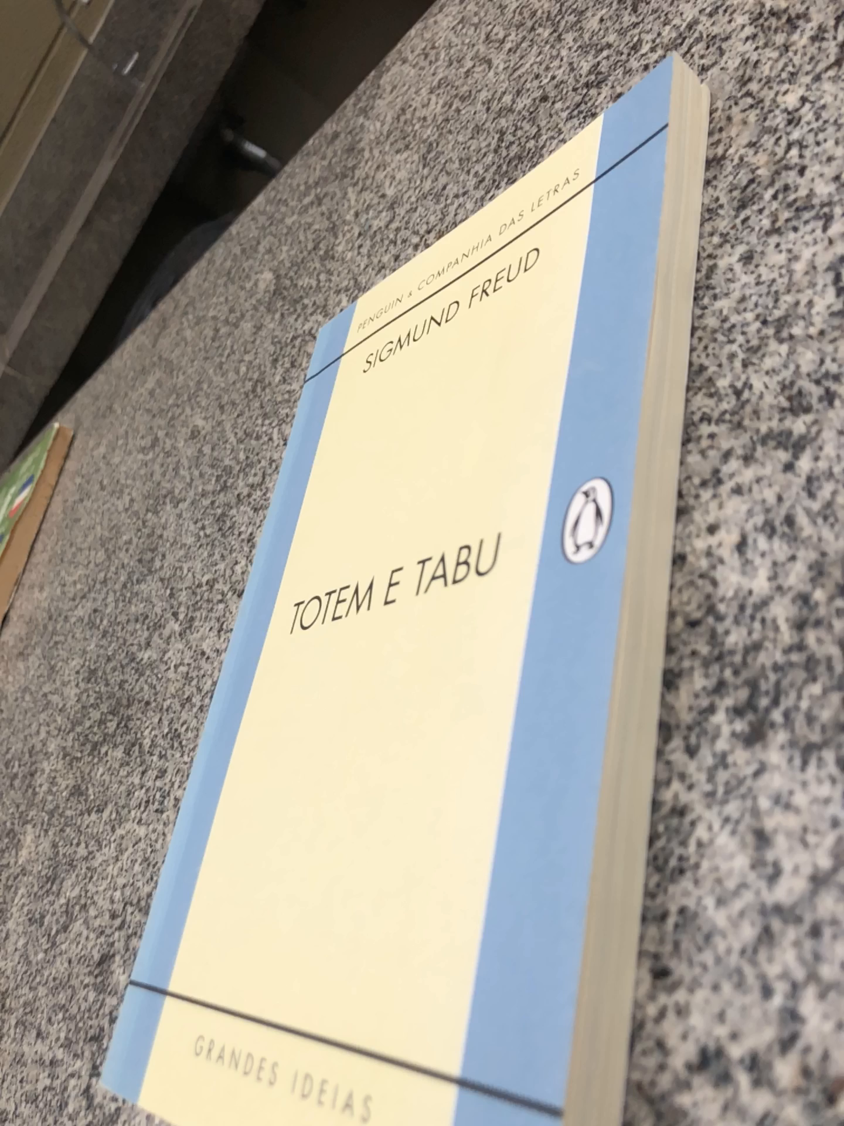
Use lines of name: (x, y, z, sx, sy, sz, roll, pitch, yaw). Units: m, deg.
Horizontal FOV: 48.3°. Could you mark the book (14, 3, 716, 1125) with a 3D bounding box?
book: (-0.013, 0.006, 0.174, 0.131, 0.015, 0.191, -19, 51, 49)
